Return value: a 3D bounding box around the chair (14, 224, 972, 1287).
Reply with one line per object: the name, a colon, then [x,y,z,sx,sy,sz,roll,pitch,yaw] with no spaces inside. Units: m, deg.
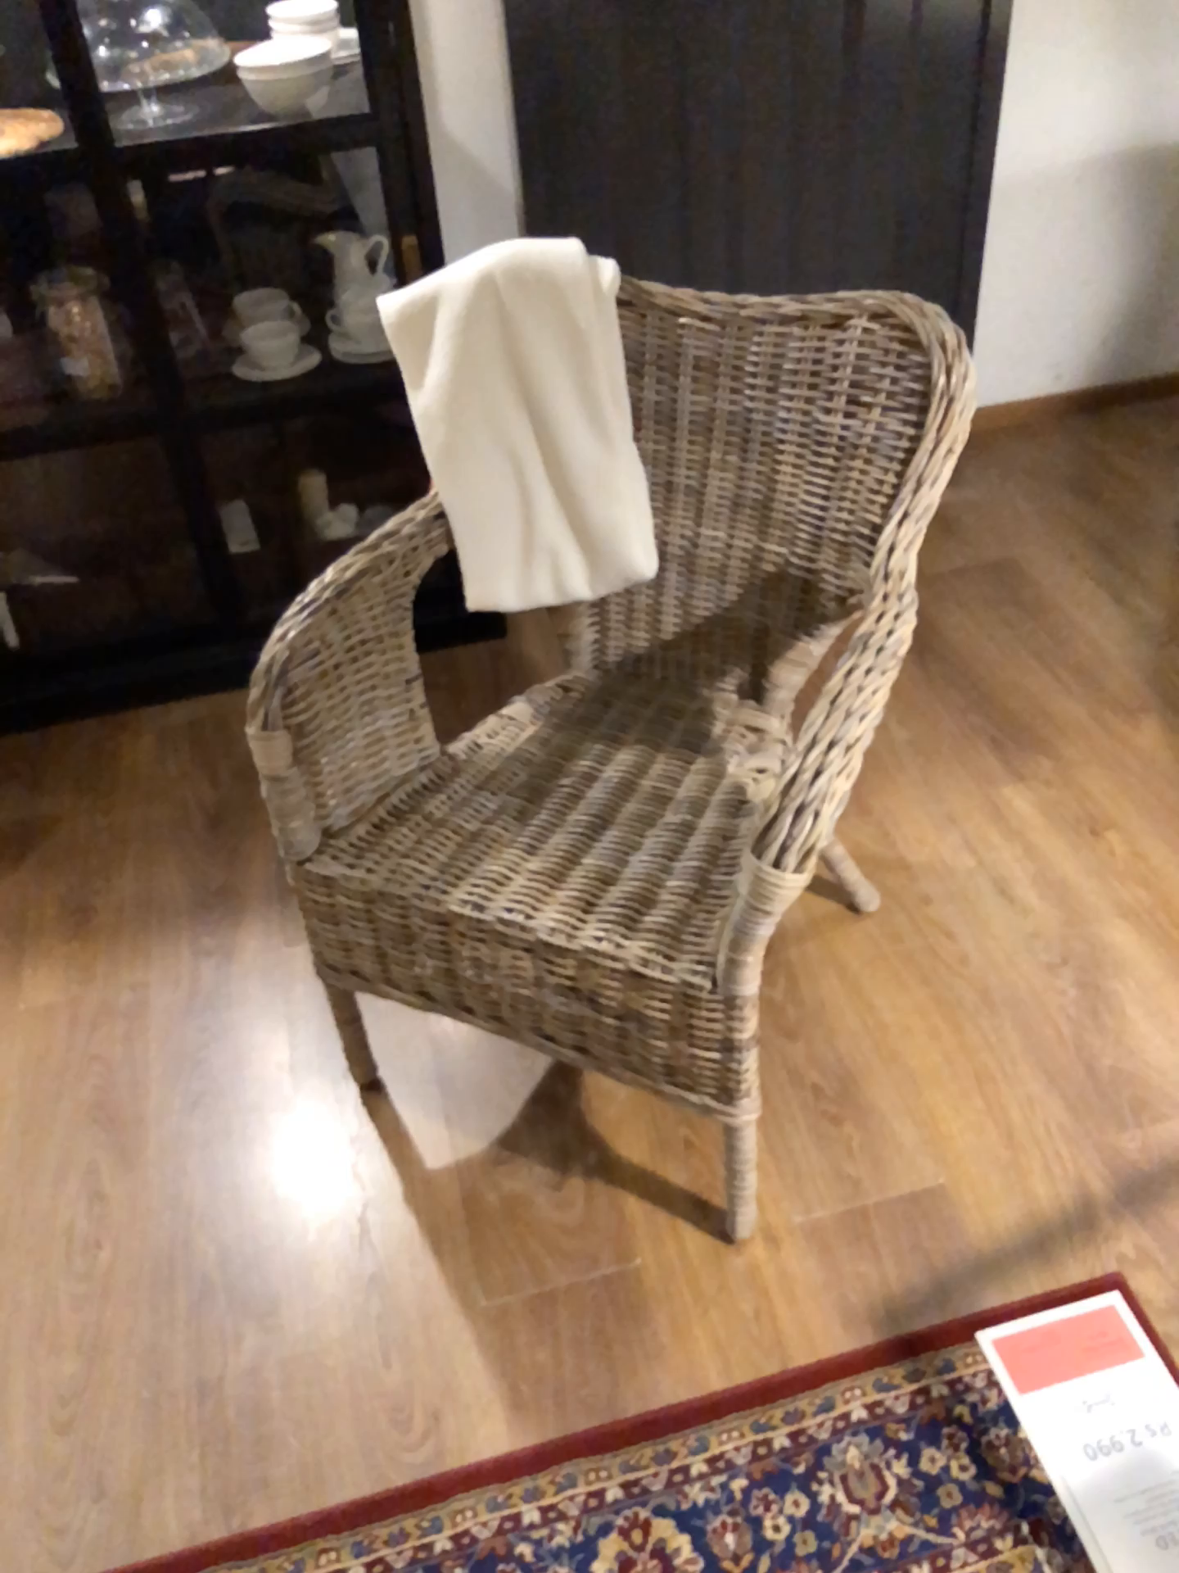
chair: [-0.020,-0.067,1.397,0.621,0.815,0.633,14,42,22]
